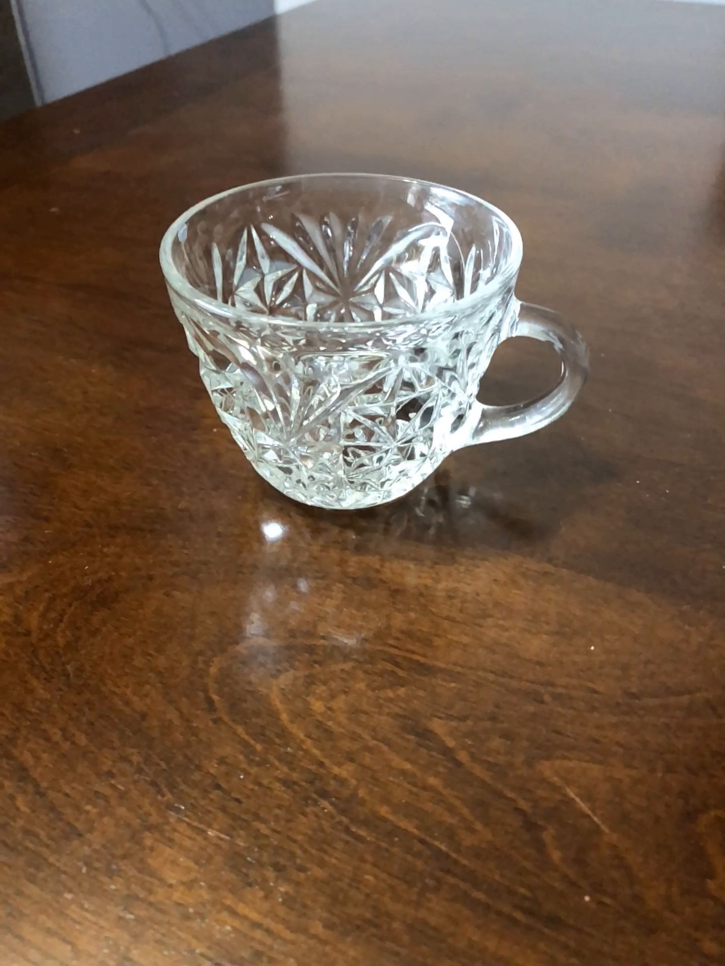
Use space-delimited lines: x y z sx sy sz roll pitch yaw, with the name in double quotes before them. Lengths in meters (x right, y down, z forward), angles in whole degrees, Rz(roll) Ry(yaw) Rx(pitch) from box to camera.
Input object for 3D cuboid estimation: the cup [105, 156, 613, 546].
"cup" 0.004 -0.037 0.202 0.100 0.060 0.070 7 40 10
